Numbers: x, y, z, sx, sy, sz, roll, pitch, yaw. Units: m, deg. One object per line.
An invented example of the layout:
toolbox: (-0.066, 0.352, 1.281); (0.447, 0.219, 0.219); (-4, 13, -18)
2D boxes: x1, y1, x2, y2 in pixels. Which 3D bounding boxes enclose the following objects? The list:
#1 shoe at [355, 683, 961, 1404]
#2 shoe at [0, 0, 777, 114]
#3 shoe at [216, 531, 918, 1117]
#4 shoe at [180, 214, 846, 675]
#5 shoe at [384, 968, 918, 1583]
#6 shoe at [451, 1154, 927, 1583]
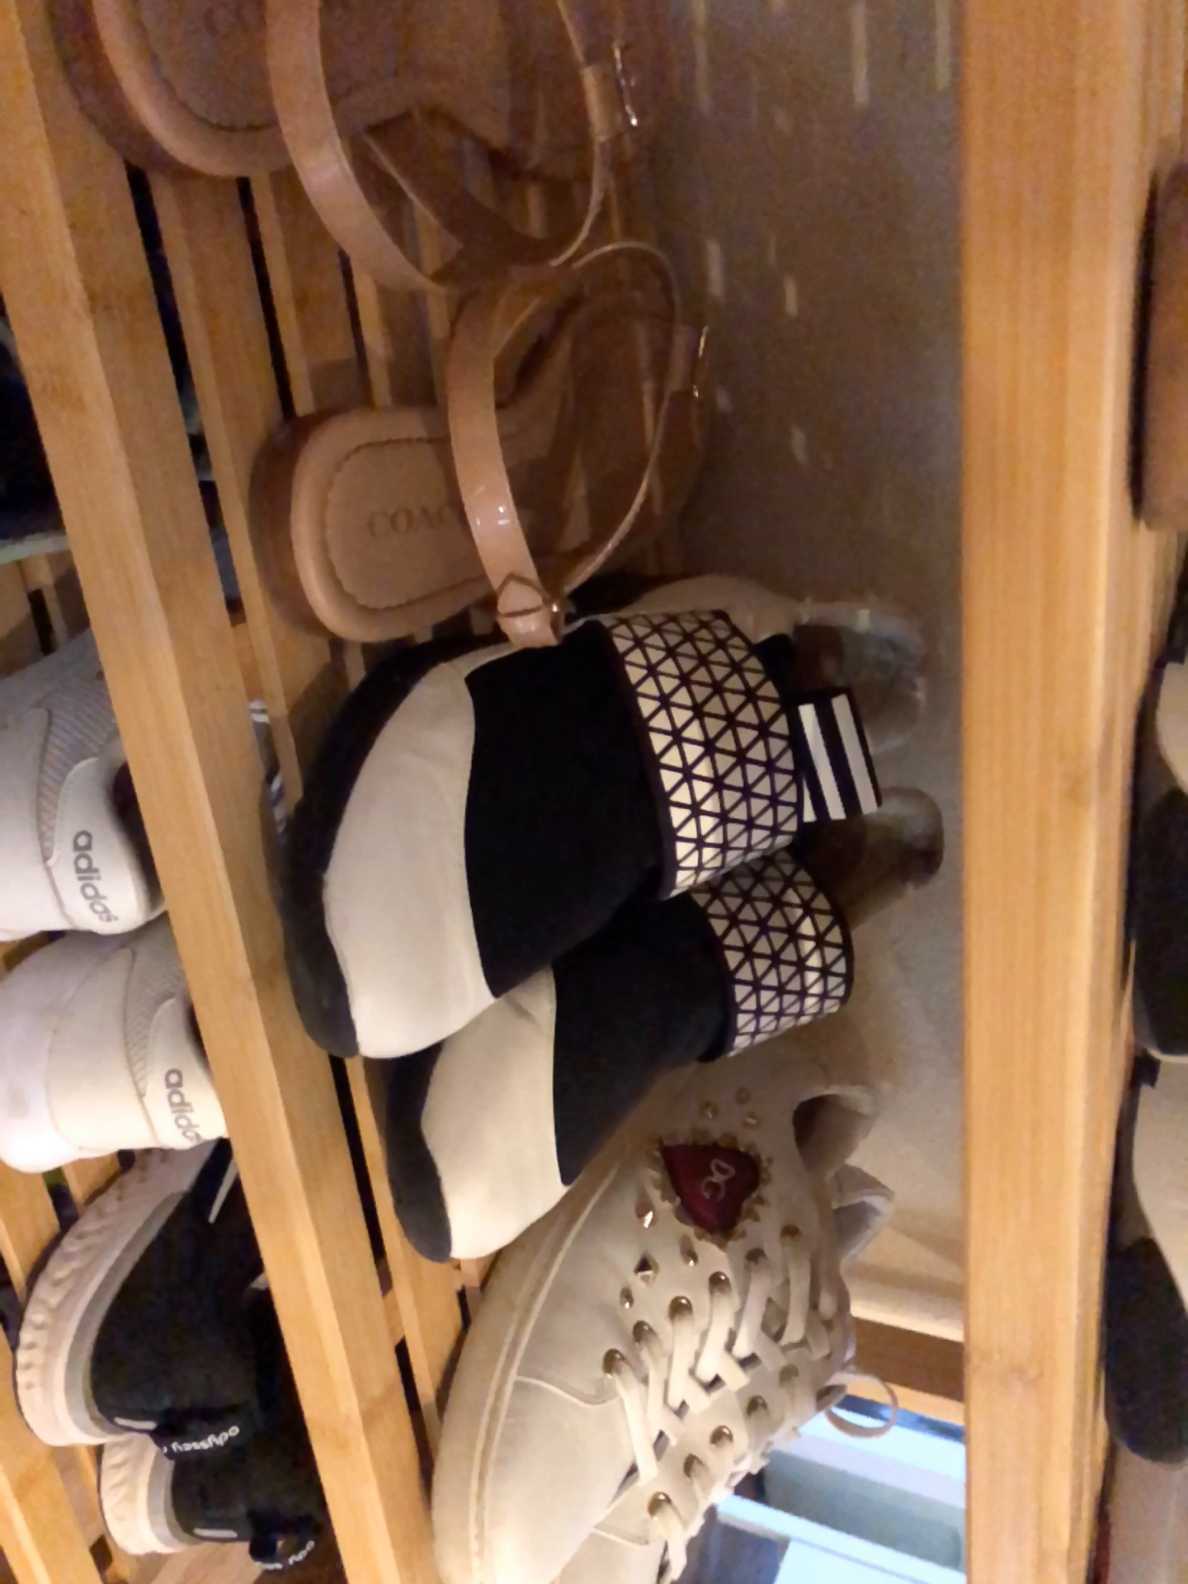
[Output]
shoe: (0.047, 0.060, 0.464); (0.281, 0.076, 0.097); (-39, 129, -48)
shoe: (-0.032, -0.260, 0.388); (0.263, 0.074, 0.092); (-38, 128, -52)
shoe: (0.017, -0.013, 0.409); (0.263, 0.068, 0.086); (-30, 122, -49)
shoe: (0.000, -0.128, 0.435); (0.263, 0.081, 0.099); (-38, 128, -52)
shoe: (0.040, 0.183, 0.504); (0.256, 0.068, 0.093); (-40, 130, -44)
shoe: (0.054, 0.269, 0.532); (0.243, 0.068, 0.093); (-40, 130, -44)
